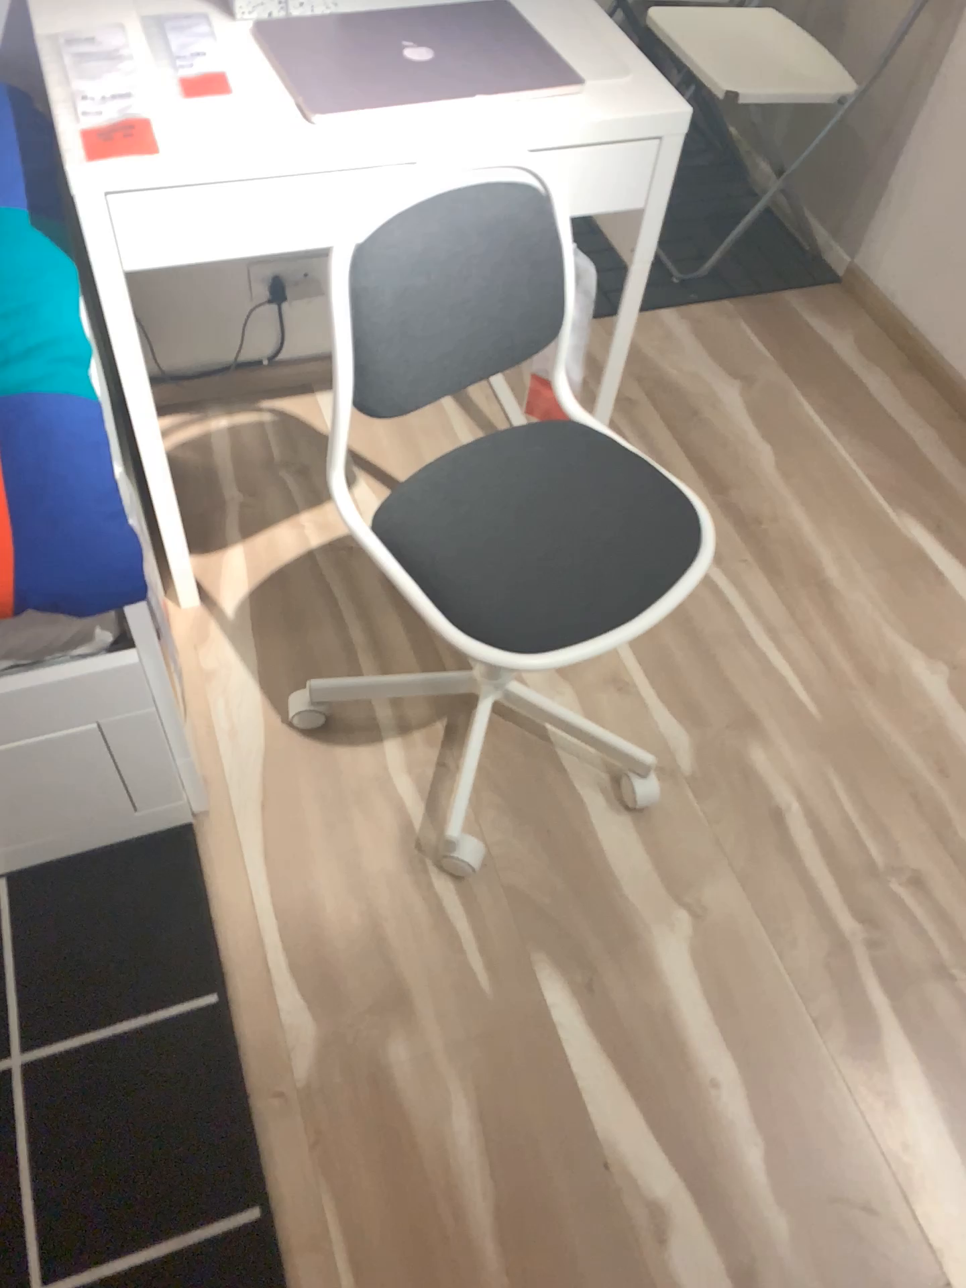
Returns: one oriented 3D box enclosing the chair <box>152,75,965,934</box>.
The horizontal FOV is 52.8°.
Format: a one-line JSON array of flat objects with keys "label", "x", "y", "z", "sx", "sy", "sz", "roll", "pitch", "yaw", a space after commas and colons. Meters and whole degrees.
[{"label": "chair", "x": 0.072, "y": -0.159, "z": 1.208, "sx": 0.551, "sy": 0.658, "sz": 0.621, "roll": -35, "pitch": 64, "yaw": -24}]
